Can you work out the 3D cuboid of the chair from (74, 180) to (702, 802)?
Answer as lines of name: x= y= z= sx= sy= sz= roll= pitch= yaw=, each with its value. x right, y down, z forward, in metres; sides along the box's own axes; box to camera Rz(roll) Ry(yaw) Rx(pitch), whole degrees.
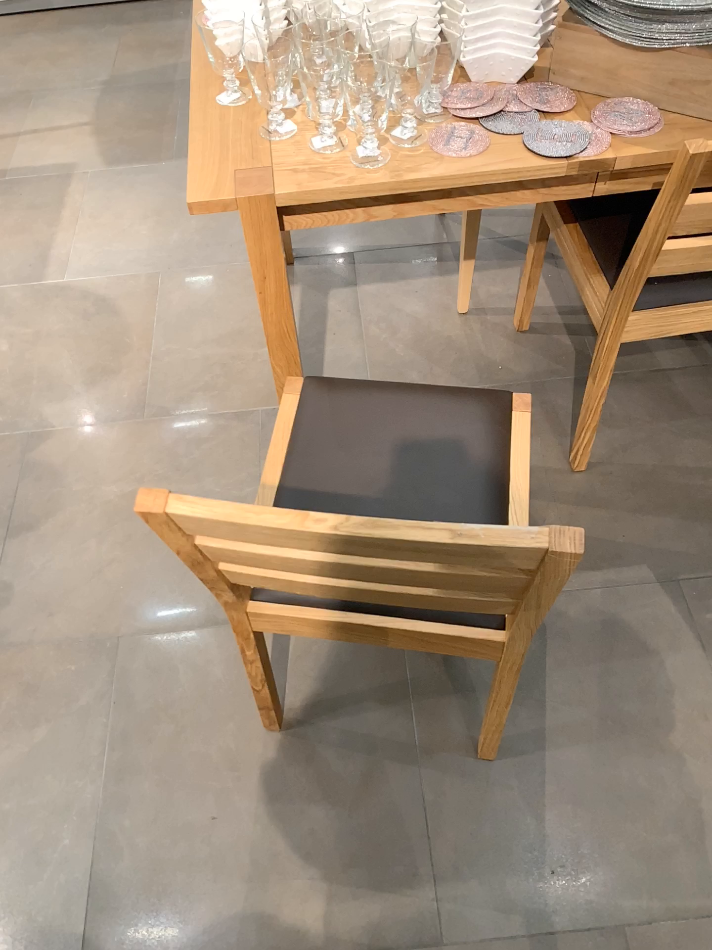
chair: x=0.077 y=0.080 z=1.136 sx=0.562 sy=0.817 sz=0.567 roll=5 pitch=54 yaw=8
